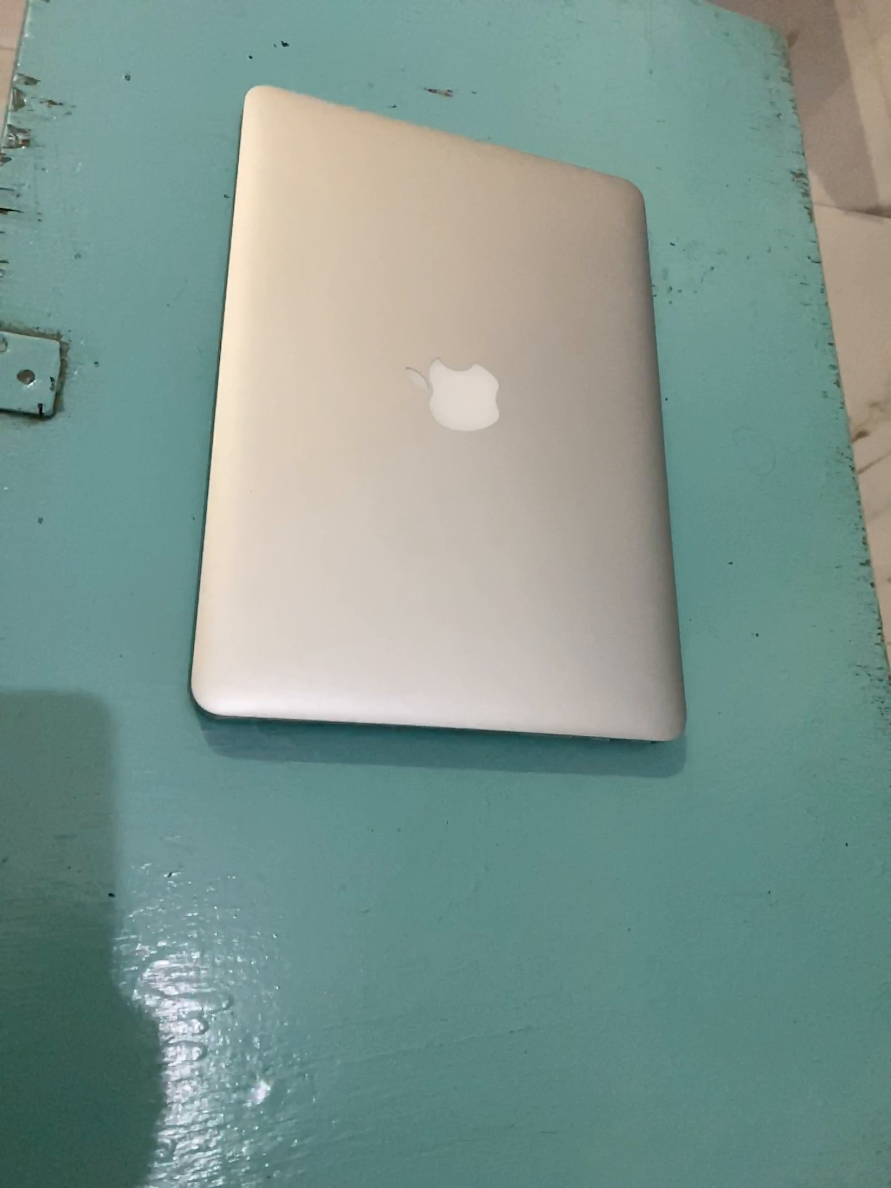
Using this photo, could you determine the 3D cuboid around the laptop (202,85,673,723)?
[{"bbox_3d":[0.001,-0.091,0.427,0.209,0.007,0.291,5,72,-20],"label":"laptop"}]
